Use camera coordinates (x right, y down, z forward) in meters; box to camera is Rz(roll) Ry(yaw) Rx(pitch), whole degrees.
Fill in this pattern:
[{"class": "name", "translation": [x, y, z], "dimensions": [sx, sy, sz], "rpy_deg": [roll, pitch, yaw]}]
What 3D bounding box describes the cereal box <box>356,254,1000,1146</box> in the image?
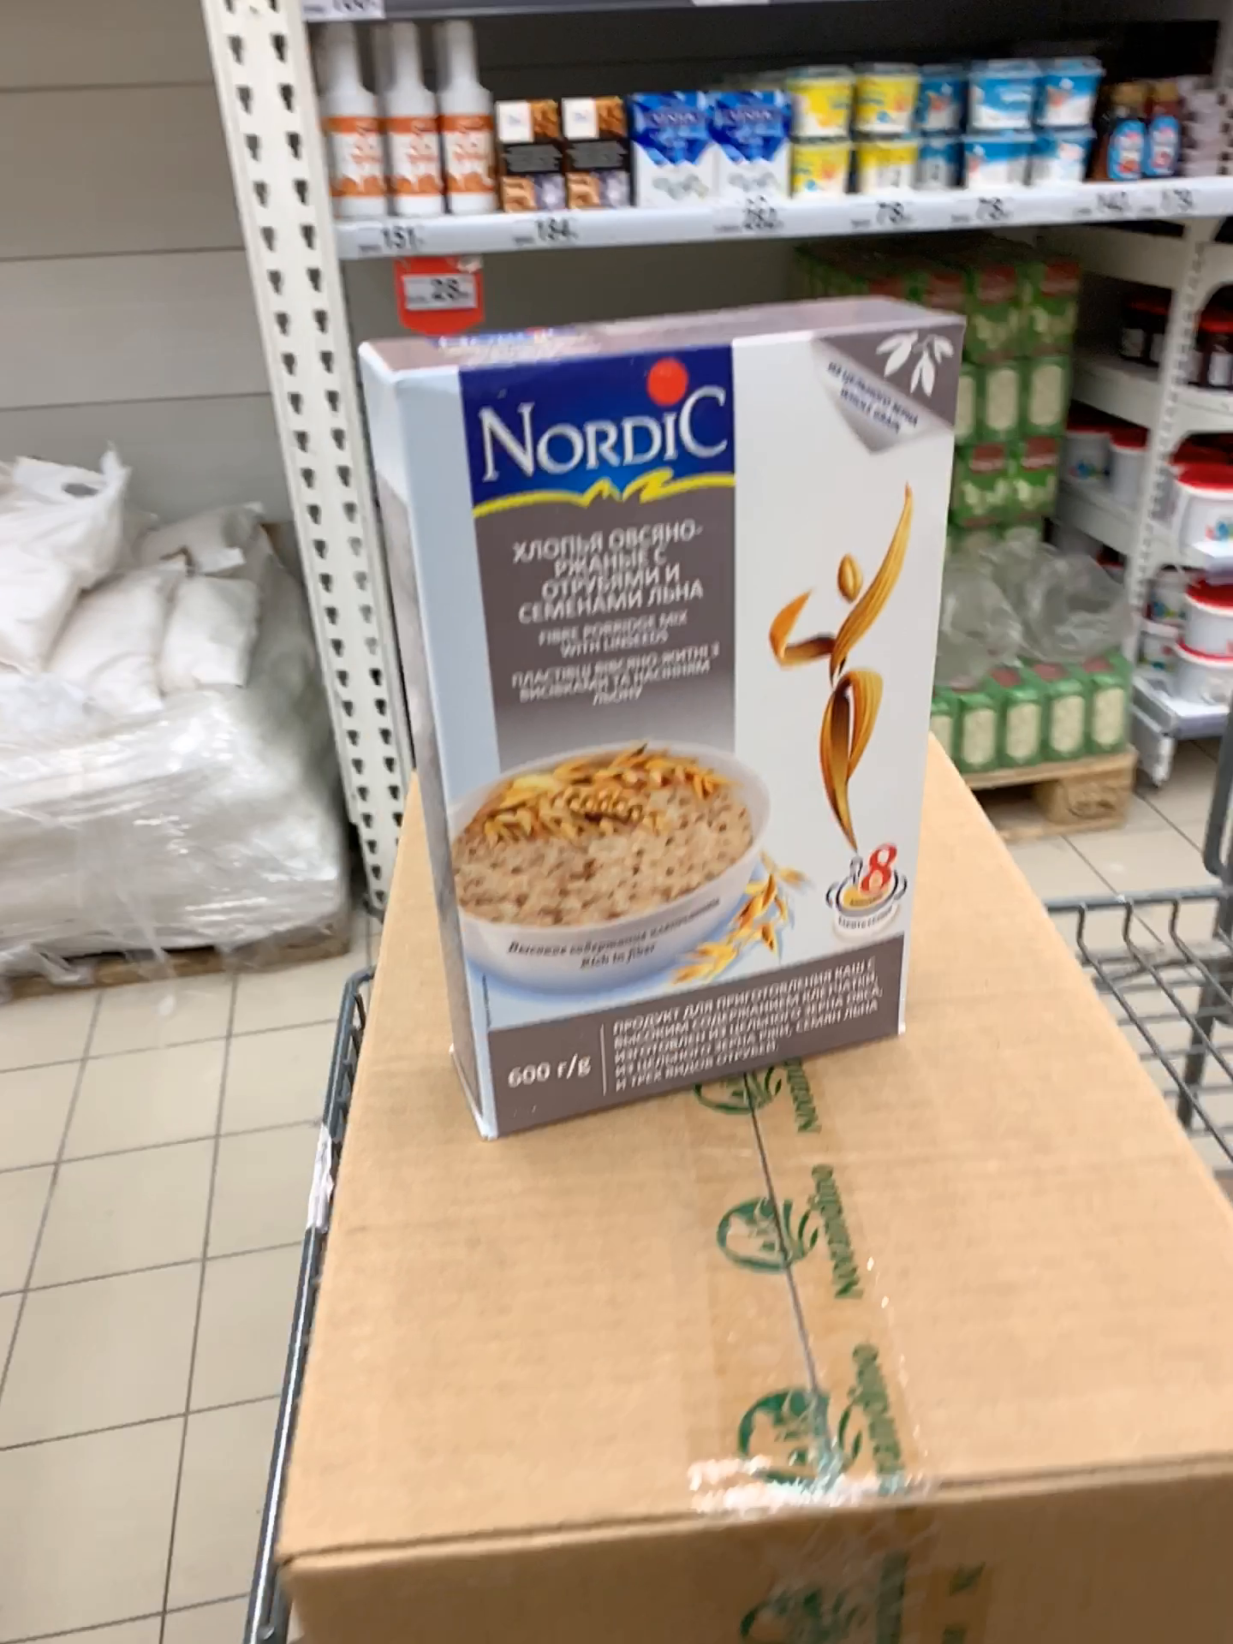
[{"class": "cereal box", "translation": [0.019, -0.028, 0.373], "dimensions": [0.150, 0.239, 0.050], "rpy_deg": [-12, 32, -15]}]
